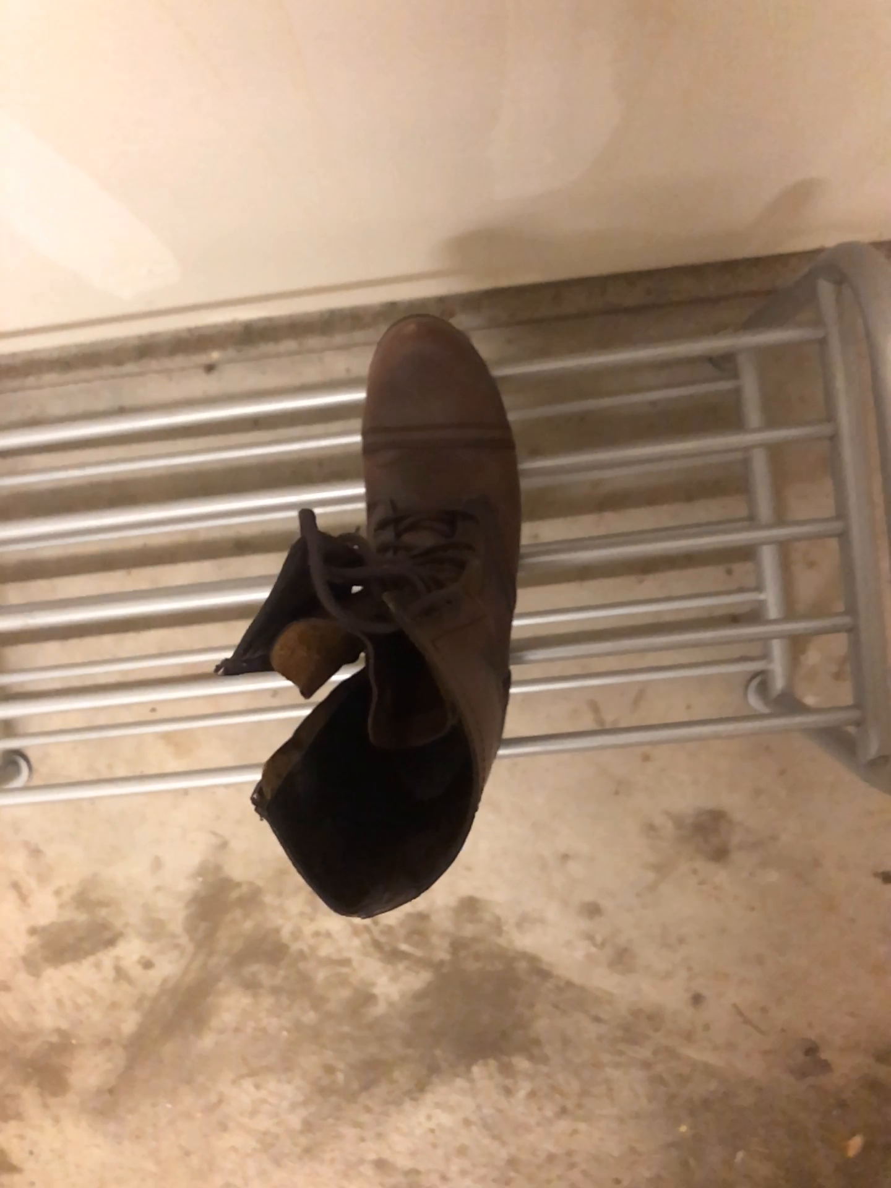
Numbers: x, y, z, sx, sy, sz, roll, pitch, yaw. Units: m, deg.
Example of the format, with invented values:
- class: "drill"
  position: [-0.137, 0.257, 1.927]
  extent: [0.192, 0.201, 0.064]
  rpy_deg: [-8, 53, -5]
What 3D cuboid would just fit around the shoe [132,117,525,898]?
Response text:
- class: "shoe"
  position: [-0.034, -0.035, 0.491]
  extent: [0.121, 0.239, 0.287]
  rpy_deg: [-2, 94, 8]
